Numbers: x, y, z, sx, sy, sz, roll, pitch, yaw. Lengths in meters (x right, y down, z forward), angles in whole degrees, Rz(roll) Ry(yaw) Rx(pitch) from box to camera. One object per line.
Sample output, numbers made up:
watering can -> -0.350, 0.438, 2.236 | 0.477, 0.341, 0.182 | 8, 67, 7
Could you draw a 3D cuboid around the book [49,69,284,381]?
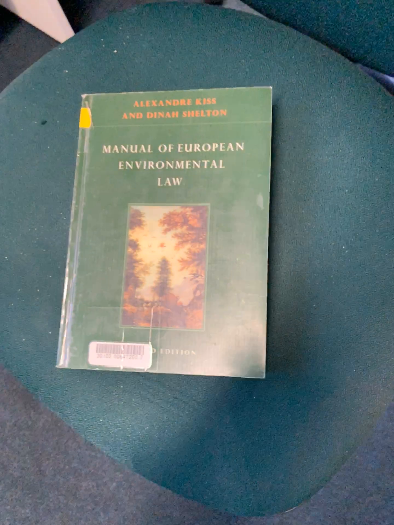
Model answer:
book -> -0.022, -0.034, 0.346 | 0.180, 0.040, 0.250 | 0, 81, 7
